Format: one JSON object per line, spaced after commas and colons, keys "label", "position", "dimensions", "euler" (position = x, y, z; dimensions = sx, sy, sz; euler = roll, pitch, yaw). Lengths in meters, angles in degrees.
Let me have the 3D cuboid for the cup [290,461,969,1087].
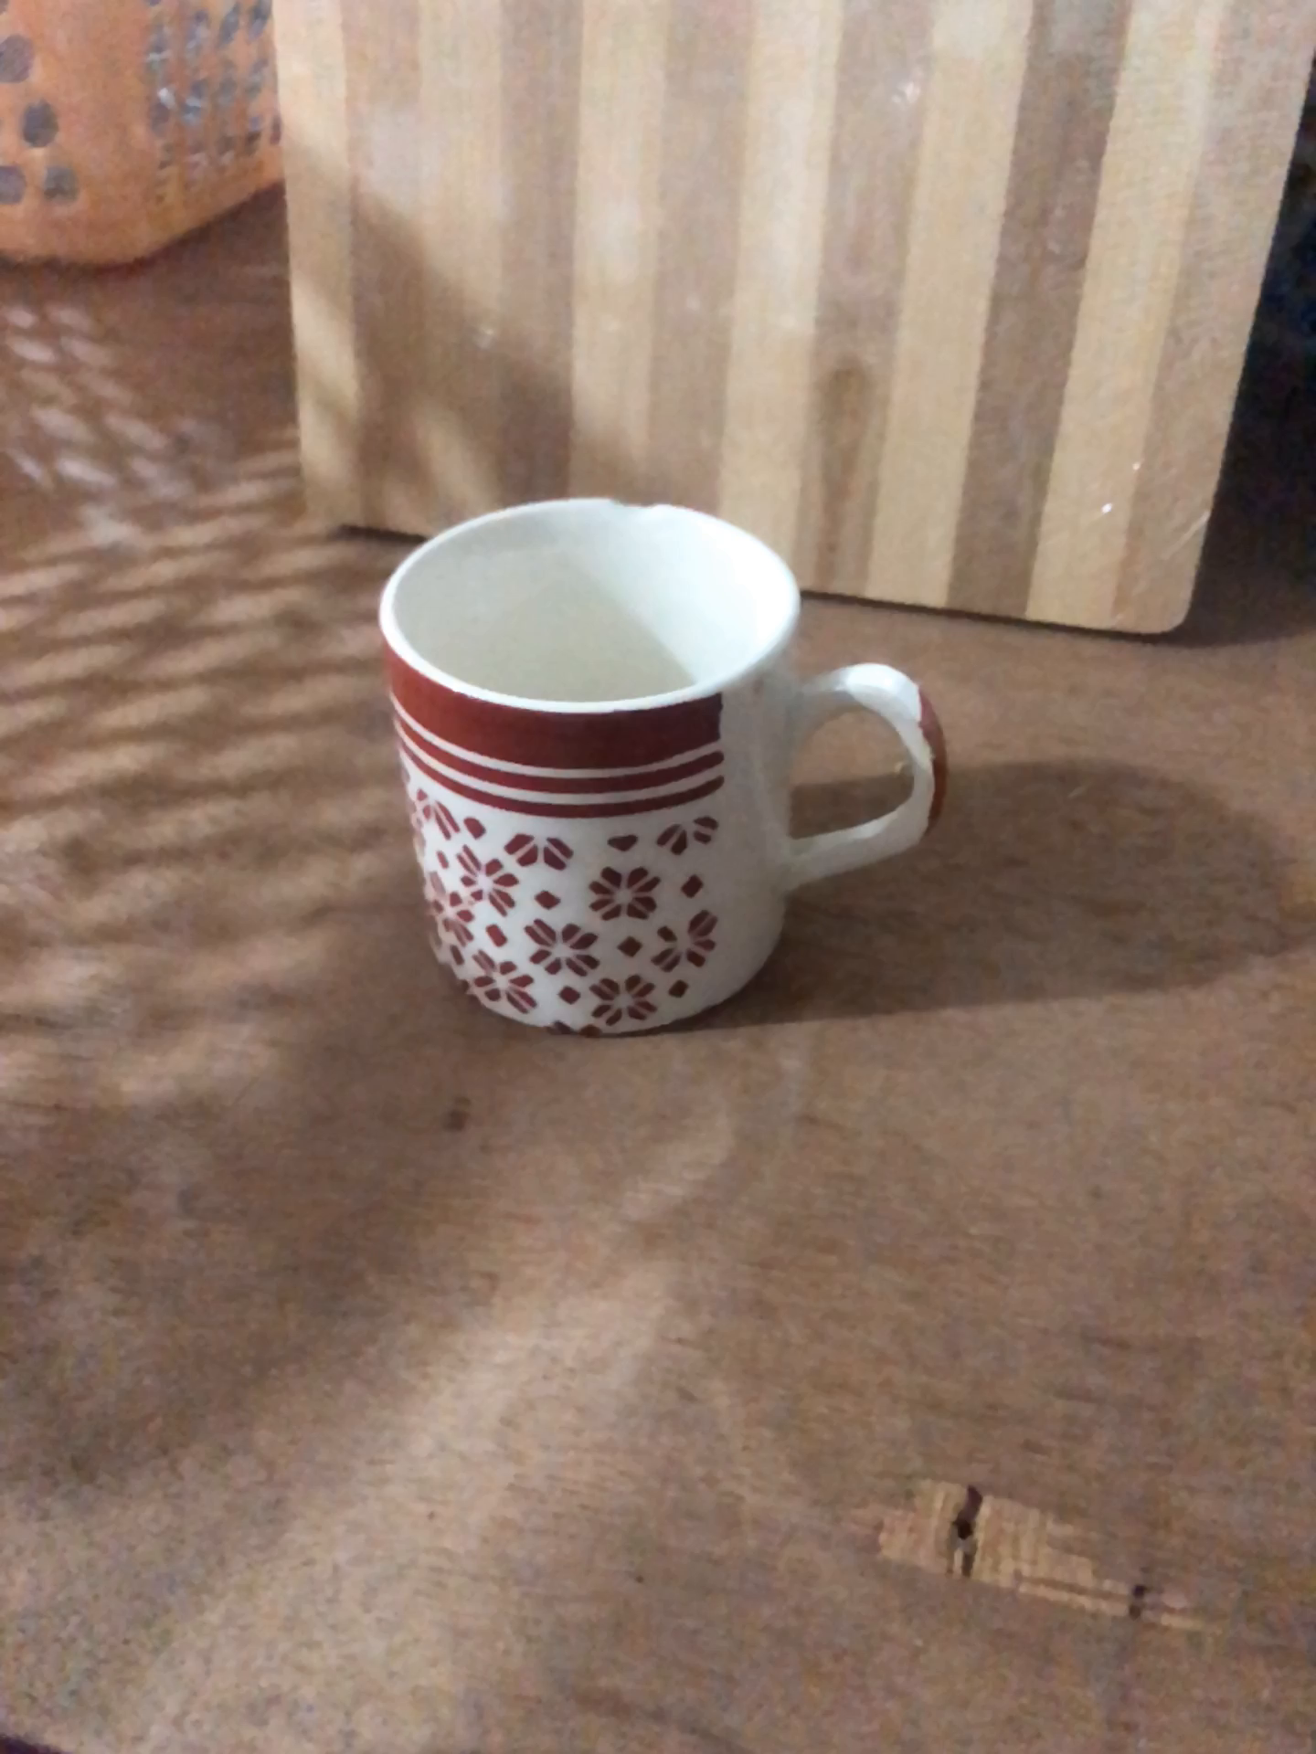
{"label": "cup", "position": [0.001, -0.019, 0.242], "dimensions": [0.090, 0.070, 0.070], "euler": [4, 41, 7]}
